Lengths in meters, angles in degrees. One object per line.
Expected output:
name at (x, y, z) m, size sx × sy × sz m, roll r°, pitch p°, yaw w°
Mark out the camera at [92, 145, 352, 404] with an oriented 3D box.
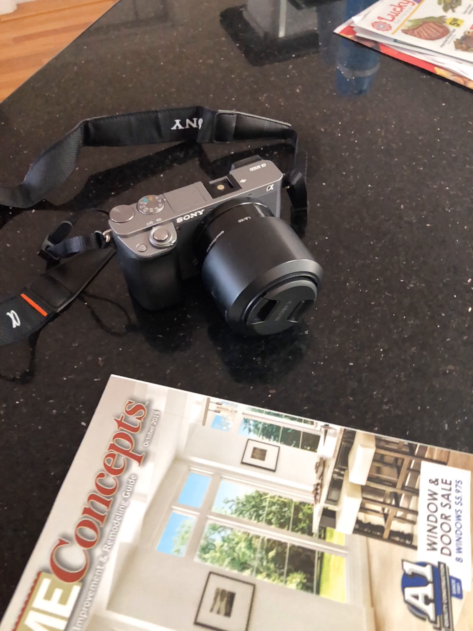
camera at (-0.011, -0.028, 0.356) m, size 0.127 × 0.100 × 0.099 m, roll -22°, pitch 58°, yaw -14°
